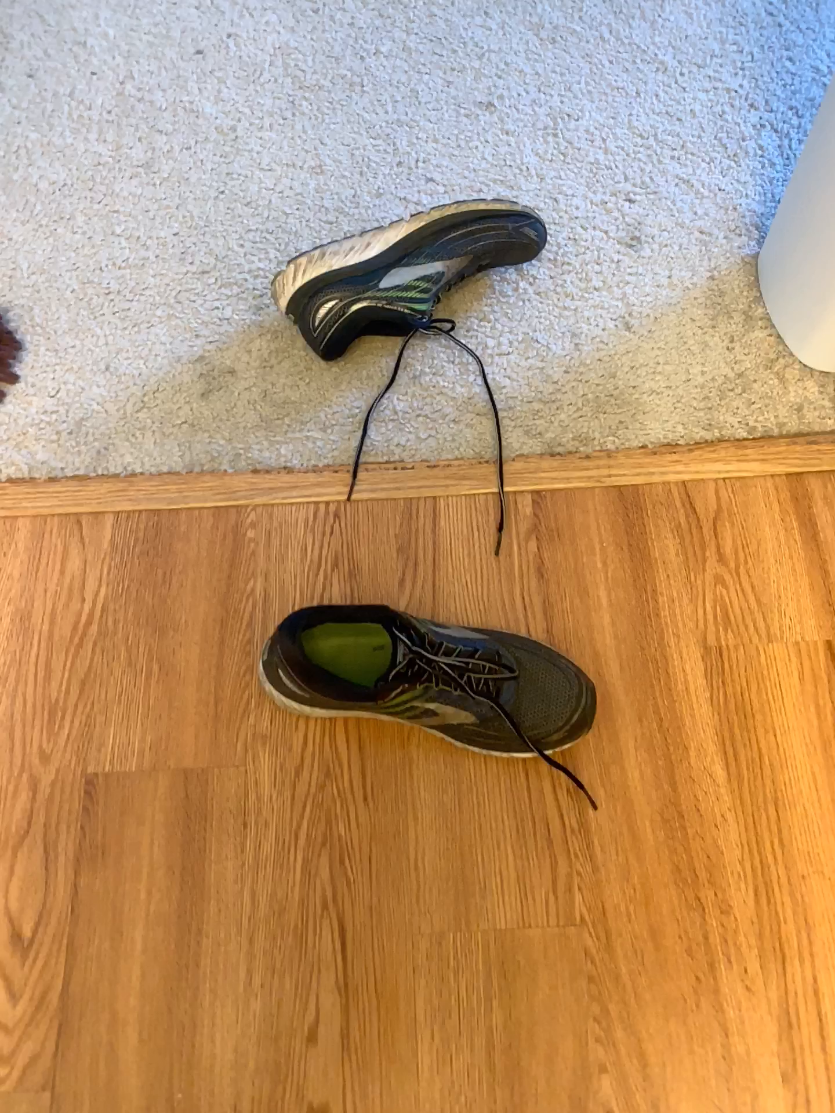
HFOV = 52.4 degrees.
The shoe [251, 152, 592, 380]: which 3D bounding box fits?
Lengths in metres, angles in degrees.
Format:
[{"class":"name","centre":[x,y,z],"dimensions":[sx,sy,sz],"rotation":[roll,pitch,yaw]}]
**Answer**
[{"class":"shoe","centre":[0.001,-0.296,0.875],"dimensions":[0.310,0.110,0.120],"rotation":[-16,83,-7]}]

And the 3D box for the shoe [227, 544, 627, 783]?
[{"class":"shoe","centre":[0.010,0.098,0.753],"dimensions":[0.311,0.123,0.120],"rotation":[11,66,5]}]
